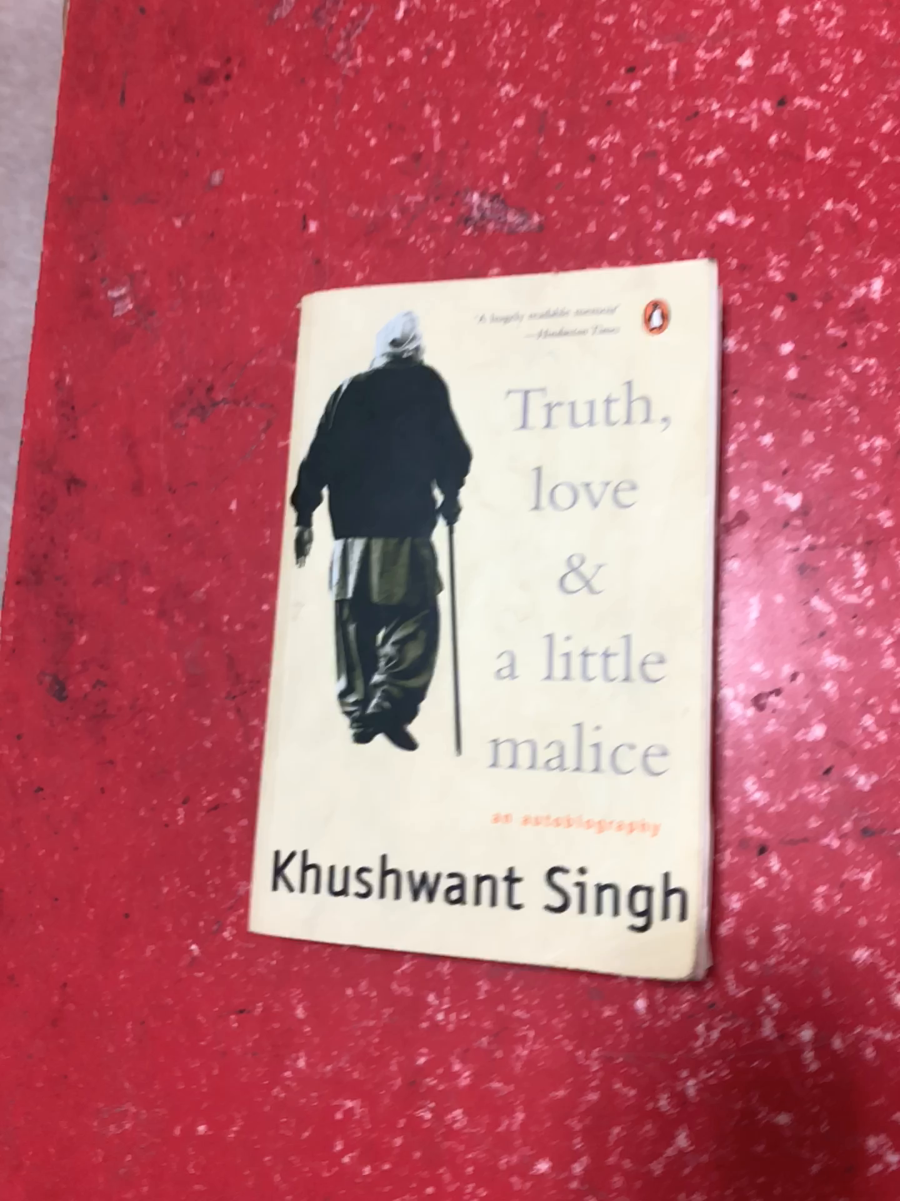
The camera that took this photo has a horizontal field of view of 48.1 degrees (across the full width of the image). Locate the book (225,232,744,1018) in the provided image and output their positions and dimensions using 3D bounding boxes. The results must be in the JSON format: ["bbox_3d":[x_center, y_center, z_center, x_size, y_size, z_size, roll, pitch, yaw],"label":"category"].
[{"bbox_3d":[0.014,0.003,0.306,0.140,0.040,0.210,1,80,18],"label":"book"}]
